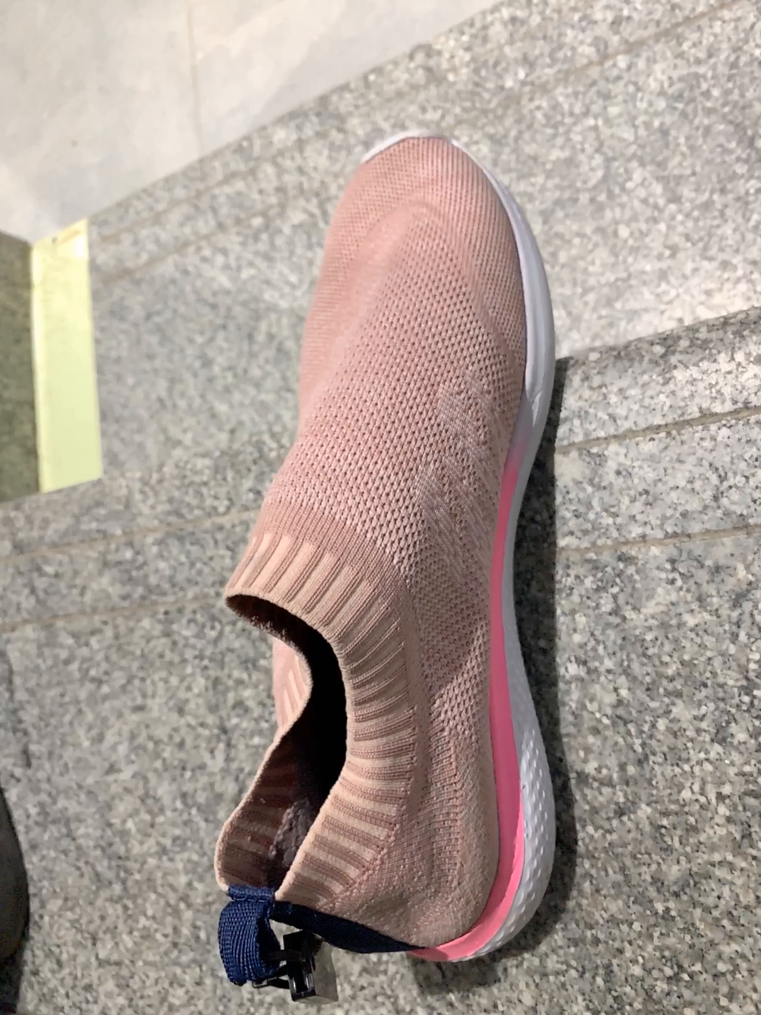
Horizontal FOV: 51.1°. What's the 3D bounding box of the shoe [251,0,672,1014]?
[{"bbox_3d":[0.025,0.000,0.253,0.100,0.080,0.250,-5,84,32],"label":"shoe"}]
